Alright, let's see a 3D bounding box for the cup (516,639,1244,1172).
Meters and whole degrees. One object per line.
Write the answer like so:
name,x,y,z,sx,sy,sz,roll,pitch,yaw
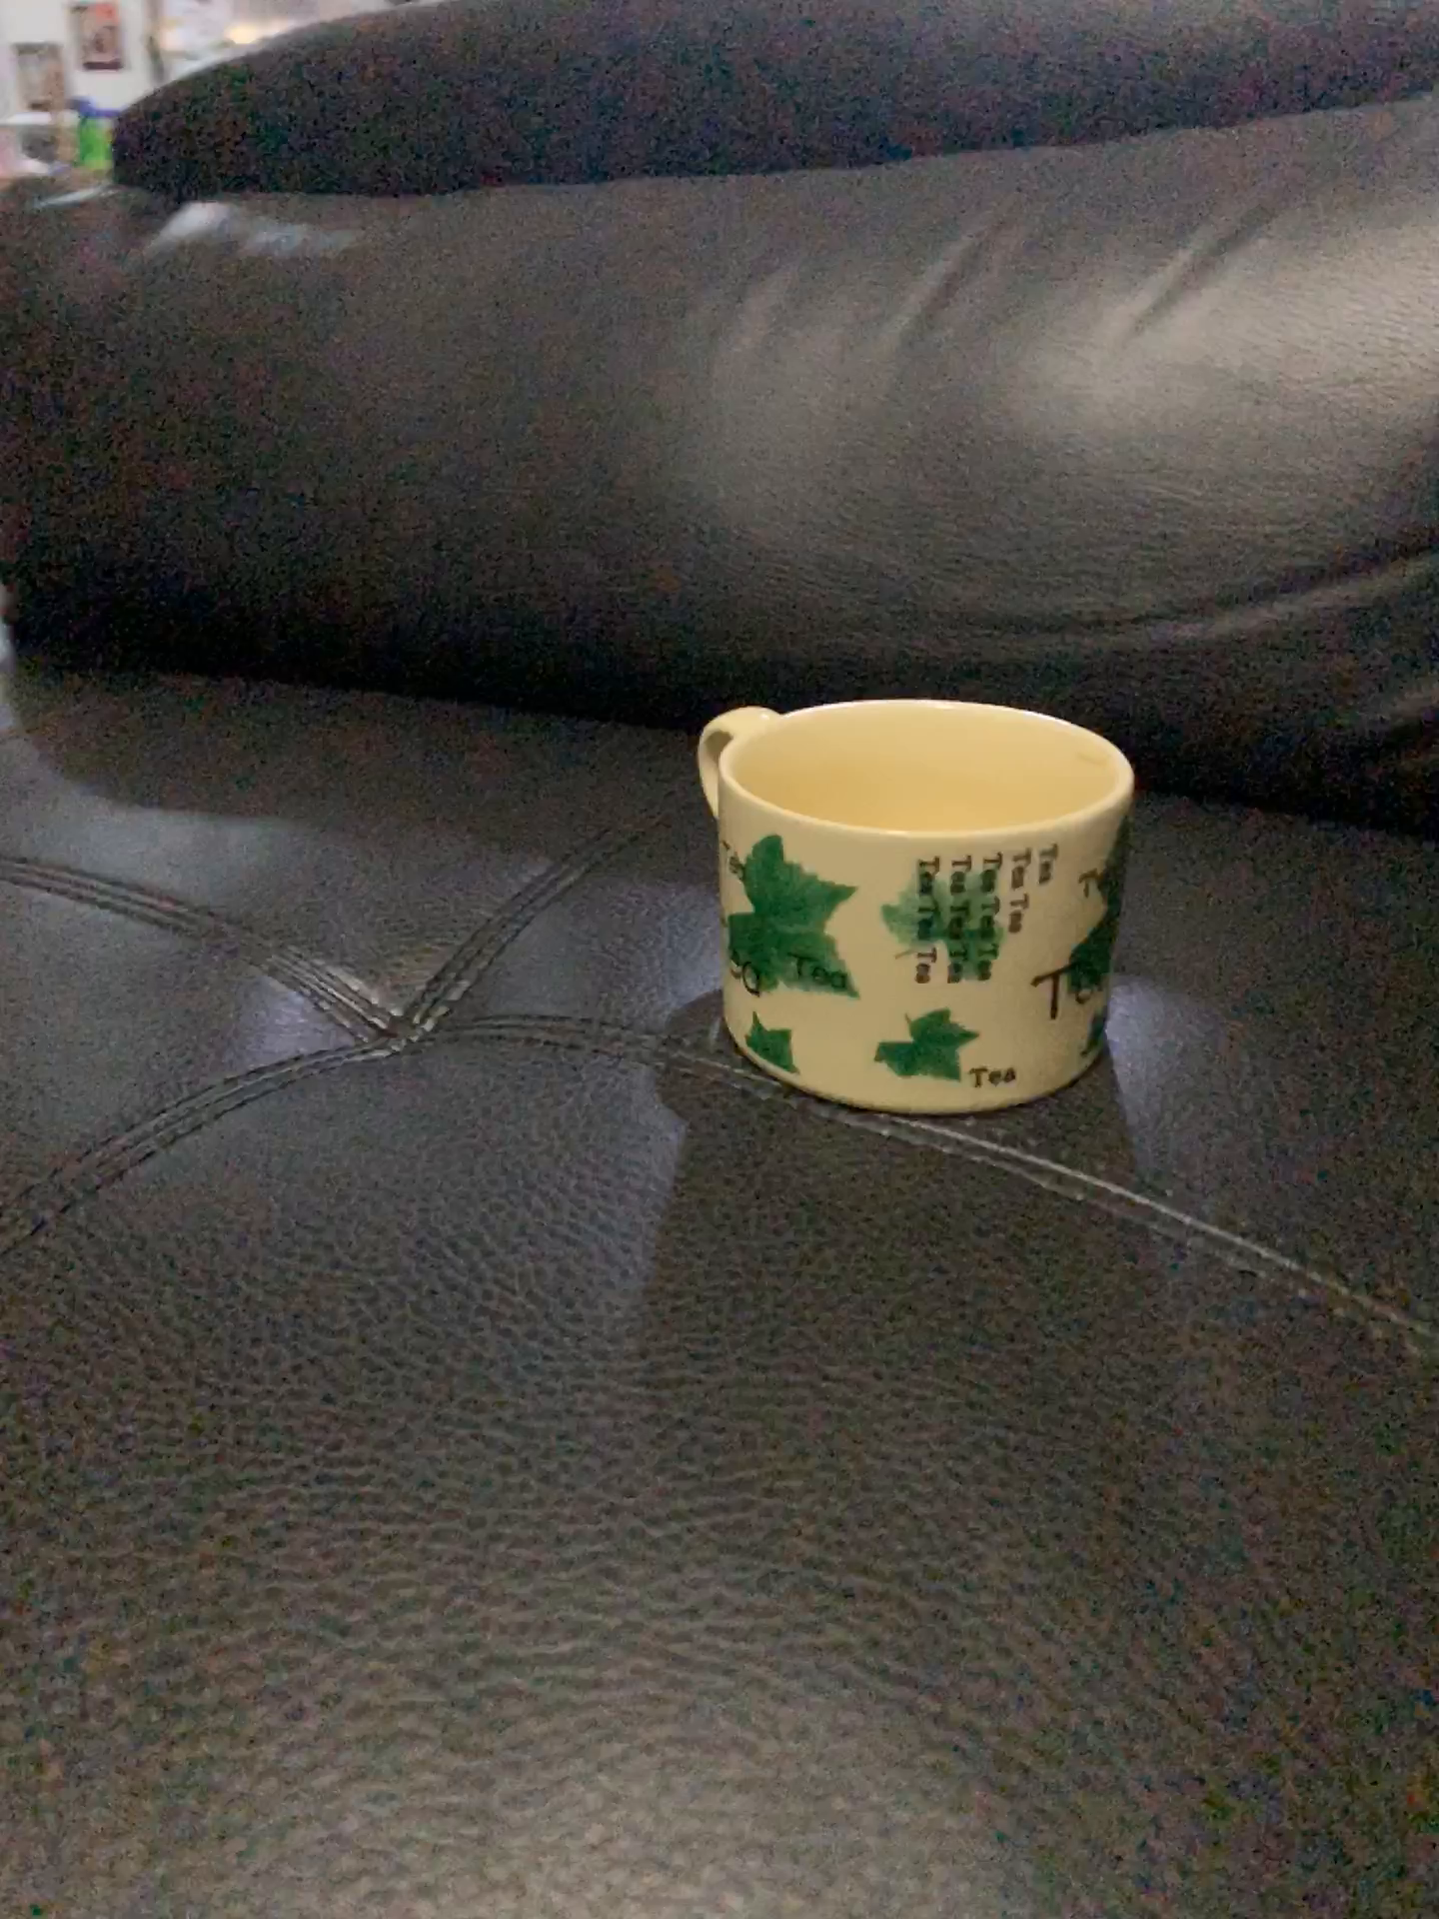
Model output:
cup,0.028,-0.021,0.310,0.090,0.060,0.119,-18,28,-31
